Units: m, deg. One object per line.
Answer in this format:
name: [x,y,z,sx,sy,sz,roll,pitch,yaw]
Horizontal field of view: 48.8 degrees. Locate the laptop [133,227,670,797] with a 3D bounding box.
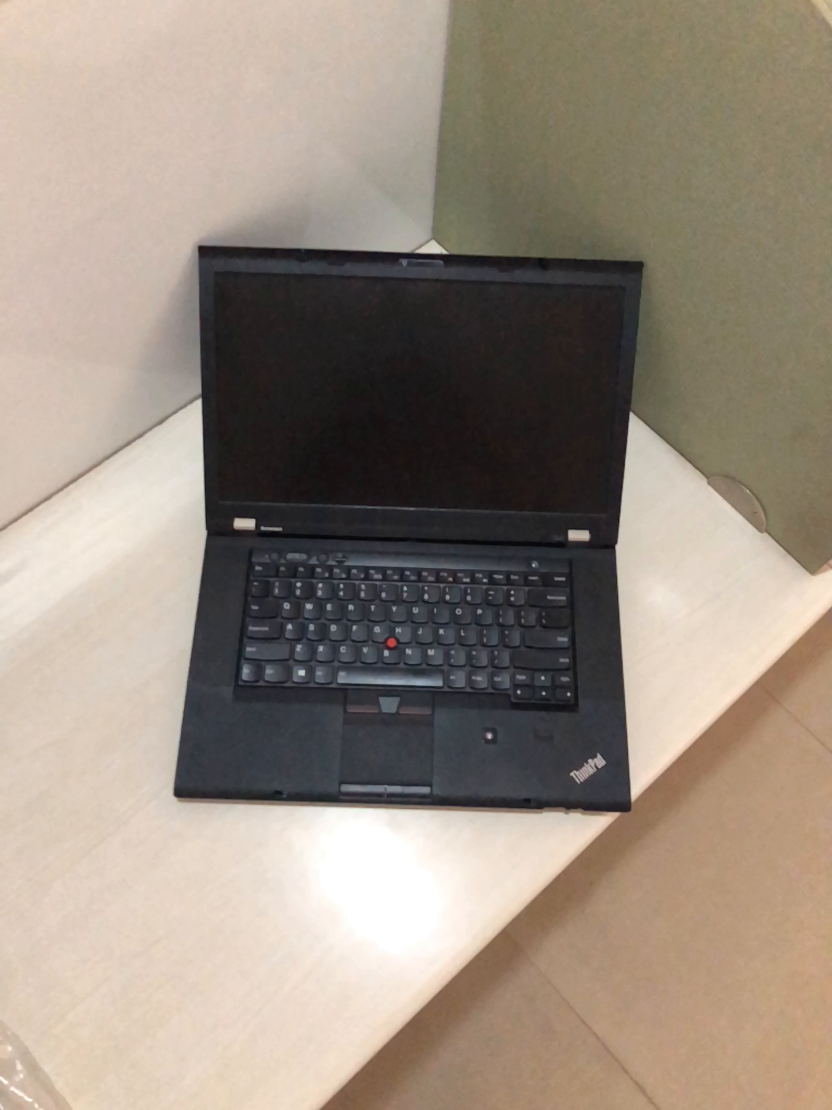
laptop: [-0.001,-0.036,0.734,0.353,0.142,0.412,2,70,1]
